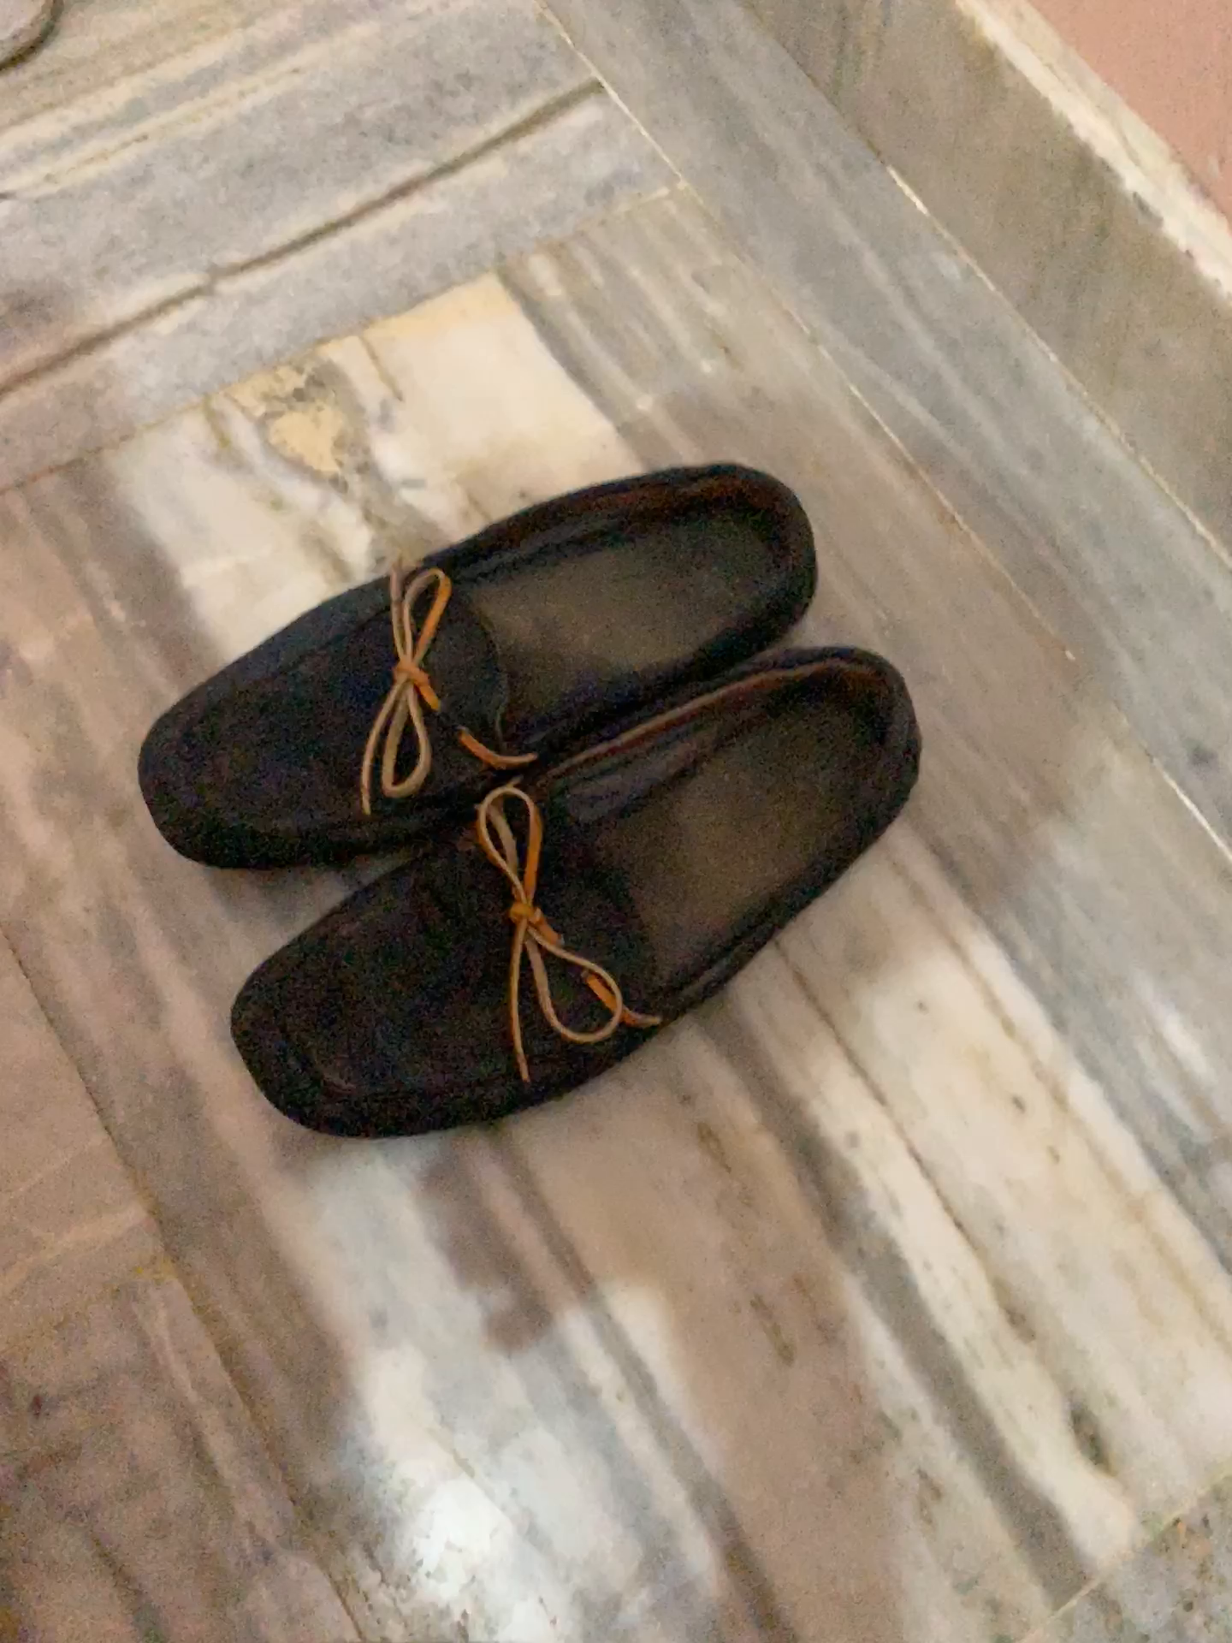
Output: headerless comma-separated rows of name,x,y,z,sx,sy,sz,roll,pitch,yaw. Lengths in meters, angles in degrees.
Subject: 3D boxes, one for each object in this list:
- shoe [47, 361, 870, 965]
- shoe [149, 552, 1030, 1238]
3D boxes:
shoe,-0.057,-0.066,0.504,0.280,0.070,0.120,-26,75,-12
shoe,-0.005,0.024,0.490,0.300,0.070,0.120,-29,76,-13
